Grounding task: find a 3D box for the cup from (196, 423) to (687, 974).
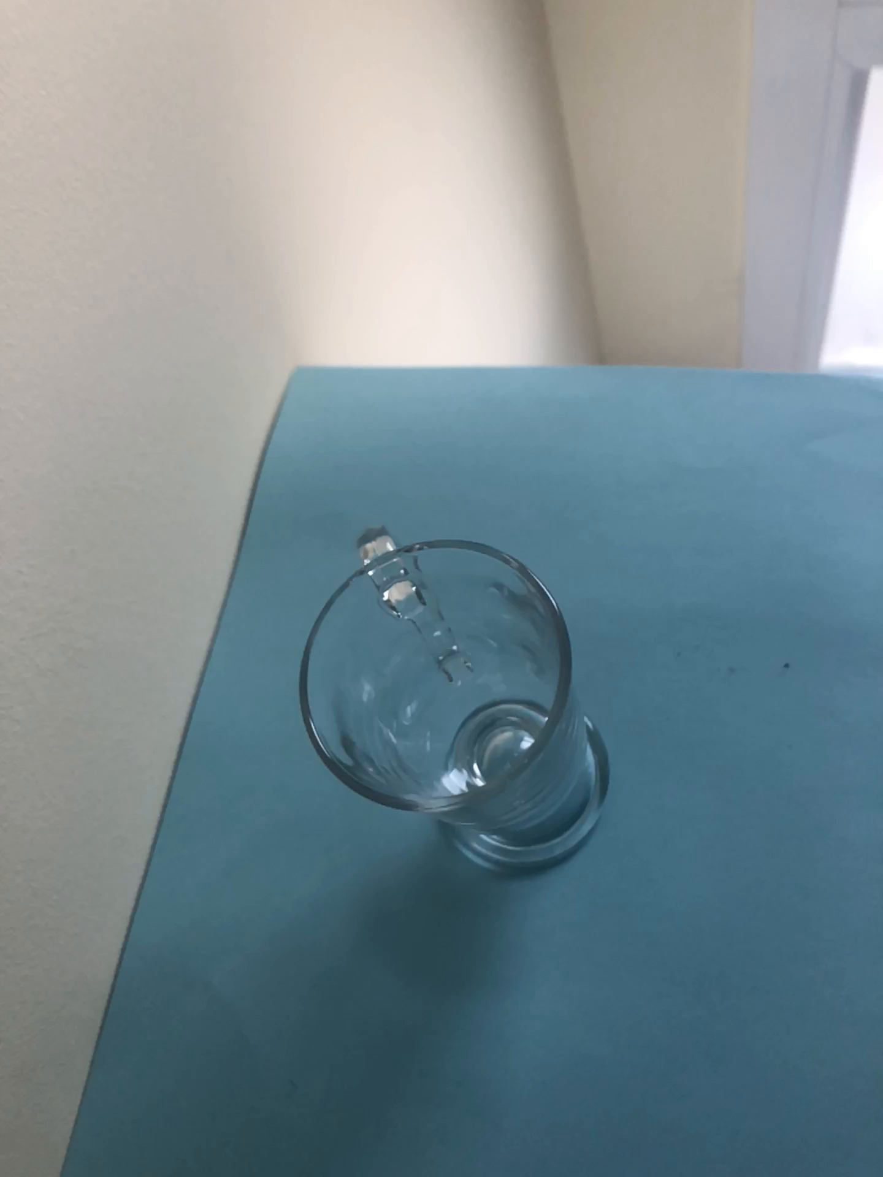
[{"bbox_3d":[0.008,0.039,0.269,0.070,0.120,0.100,-30,64,2],"label":"cup"}]
